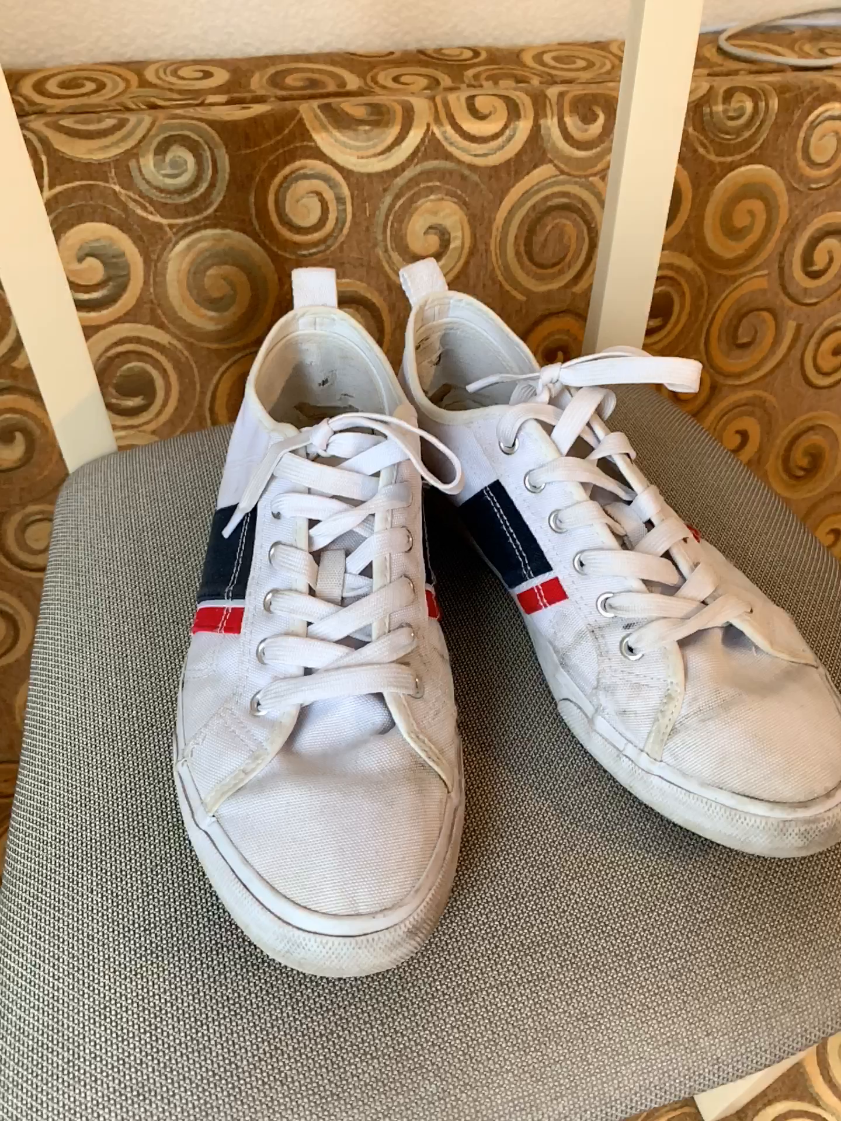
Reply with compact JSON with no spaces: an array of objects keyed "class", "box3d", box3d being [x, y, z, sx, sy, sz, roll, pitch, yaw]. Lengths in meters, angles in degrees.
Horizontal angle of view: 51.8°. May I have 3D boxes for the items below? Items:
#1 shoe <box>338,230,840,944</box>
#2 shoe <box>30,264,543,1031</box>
[{"class":"shoe","box3d":[0.079,-0.013,0.346,0.110,0.090,0.271,-23,56,-21]},{"class":"shoe","box3d":[-0.044,0.007,0.328,0.120,0.090,0.281,-1,51,-6]}]
